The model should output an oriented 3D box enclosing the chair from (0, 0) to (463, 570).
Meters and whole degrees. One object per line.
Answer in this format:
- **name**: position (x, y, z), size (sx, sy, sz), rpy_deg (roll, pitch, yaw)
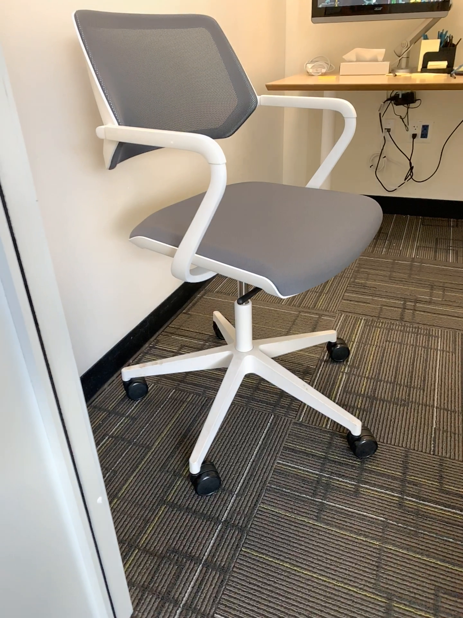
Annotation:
- **chair**: position (0.030, -0.185, 1.114), size (0.802, 0.914, 0.803), rpy_deg (13, 33, 24)
